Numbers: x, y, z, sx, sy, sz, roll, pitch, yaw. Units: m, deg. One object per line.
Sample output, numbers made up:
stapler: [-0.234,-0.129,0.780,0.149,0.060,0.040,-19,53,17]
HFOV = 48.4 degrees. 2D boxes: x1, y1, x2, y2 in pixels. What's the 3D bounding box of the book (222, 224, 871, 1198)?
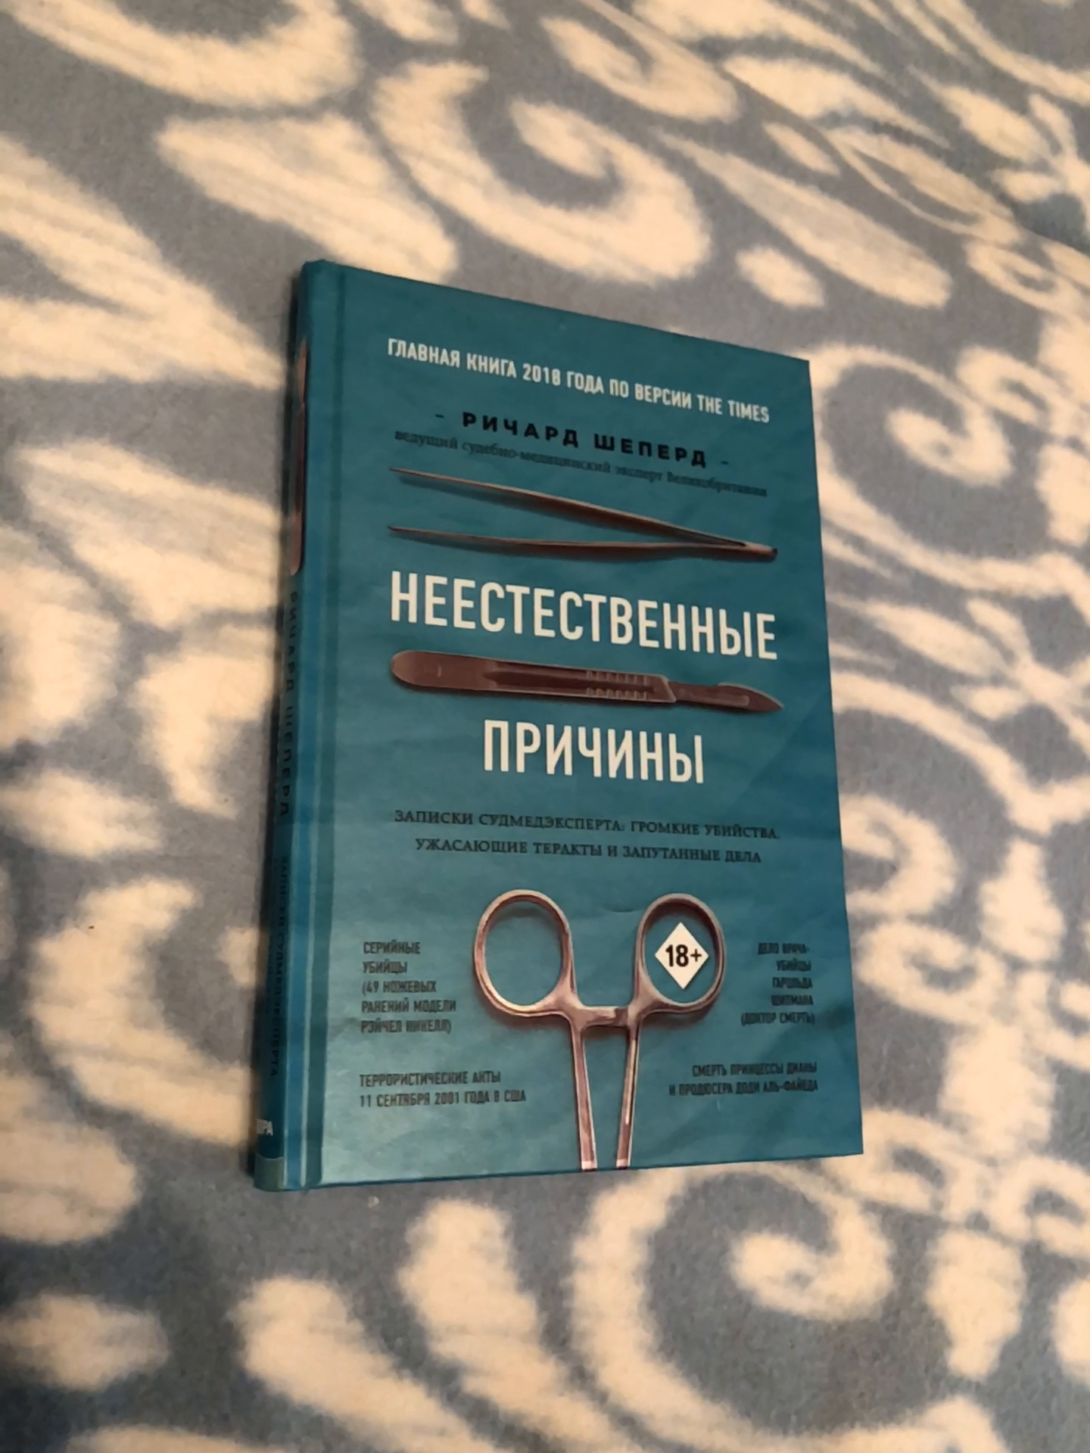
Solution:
book: [0.004,-0.005,0.301,0.149,0.025,0.218,5,76,-21]
